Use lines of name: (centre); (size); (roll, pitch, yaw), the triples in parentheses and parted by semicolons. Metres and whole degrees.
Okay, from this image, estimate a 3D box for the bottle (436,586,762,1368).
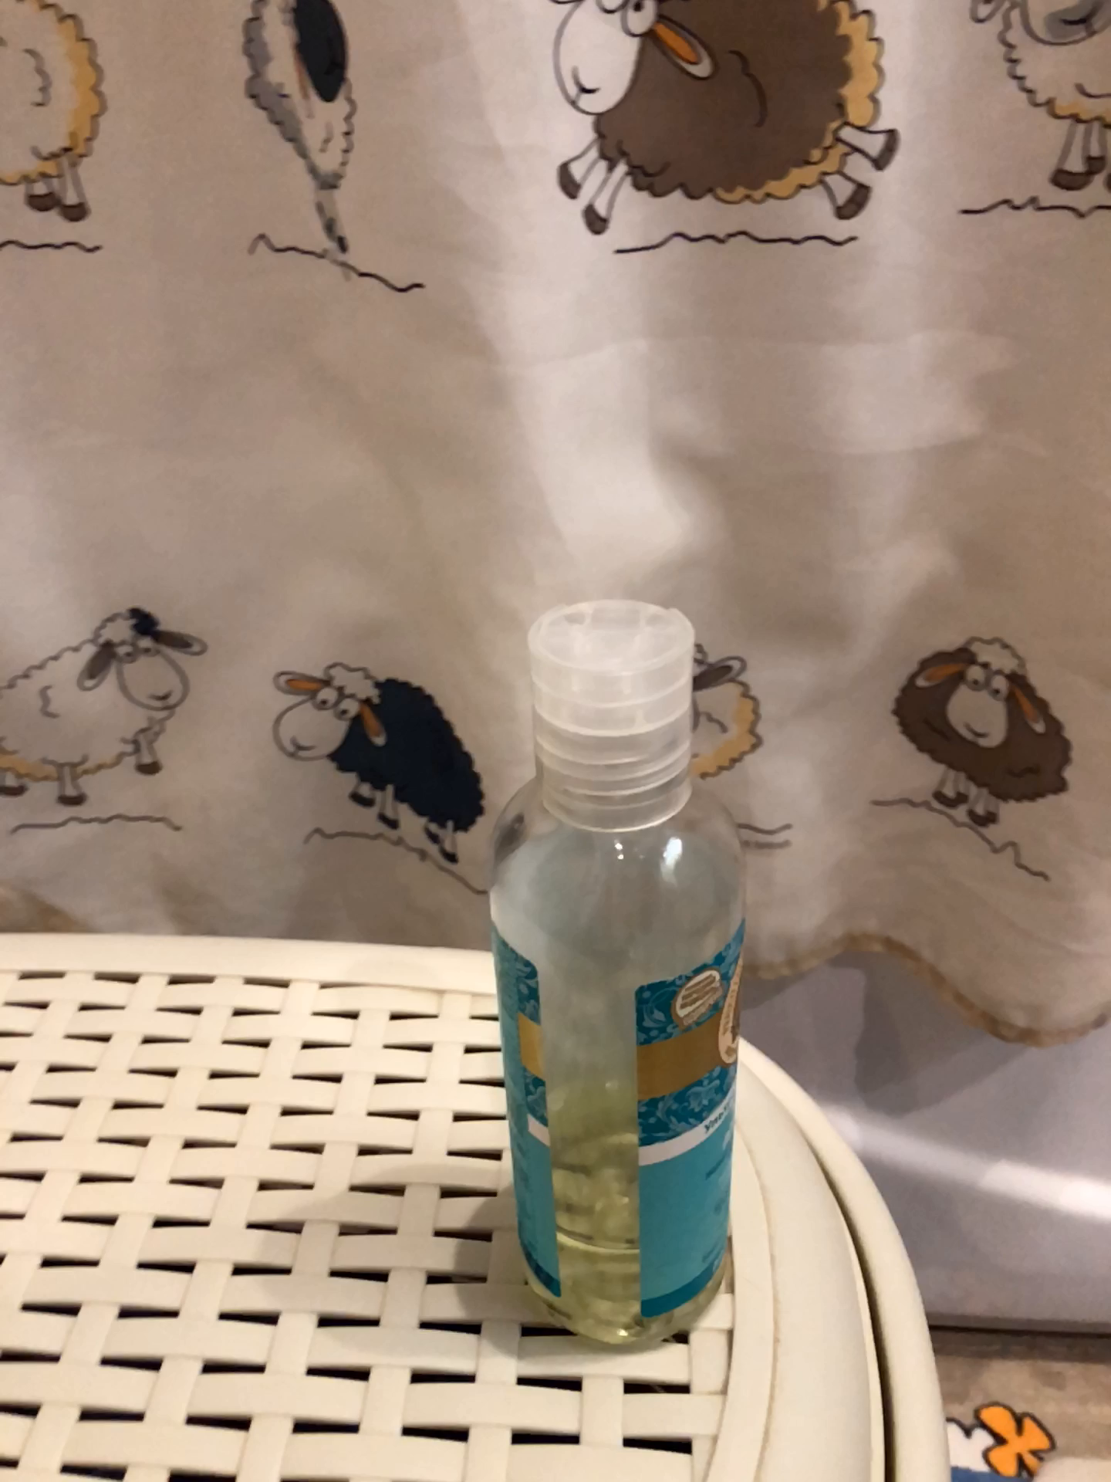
bottle: (0.009, 0.051, 0.230); (0.045, 0.153, 0.046); (-1, 33, 1)
